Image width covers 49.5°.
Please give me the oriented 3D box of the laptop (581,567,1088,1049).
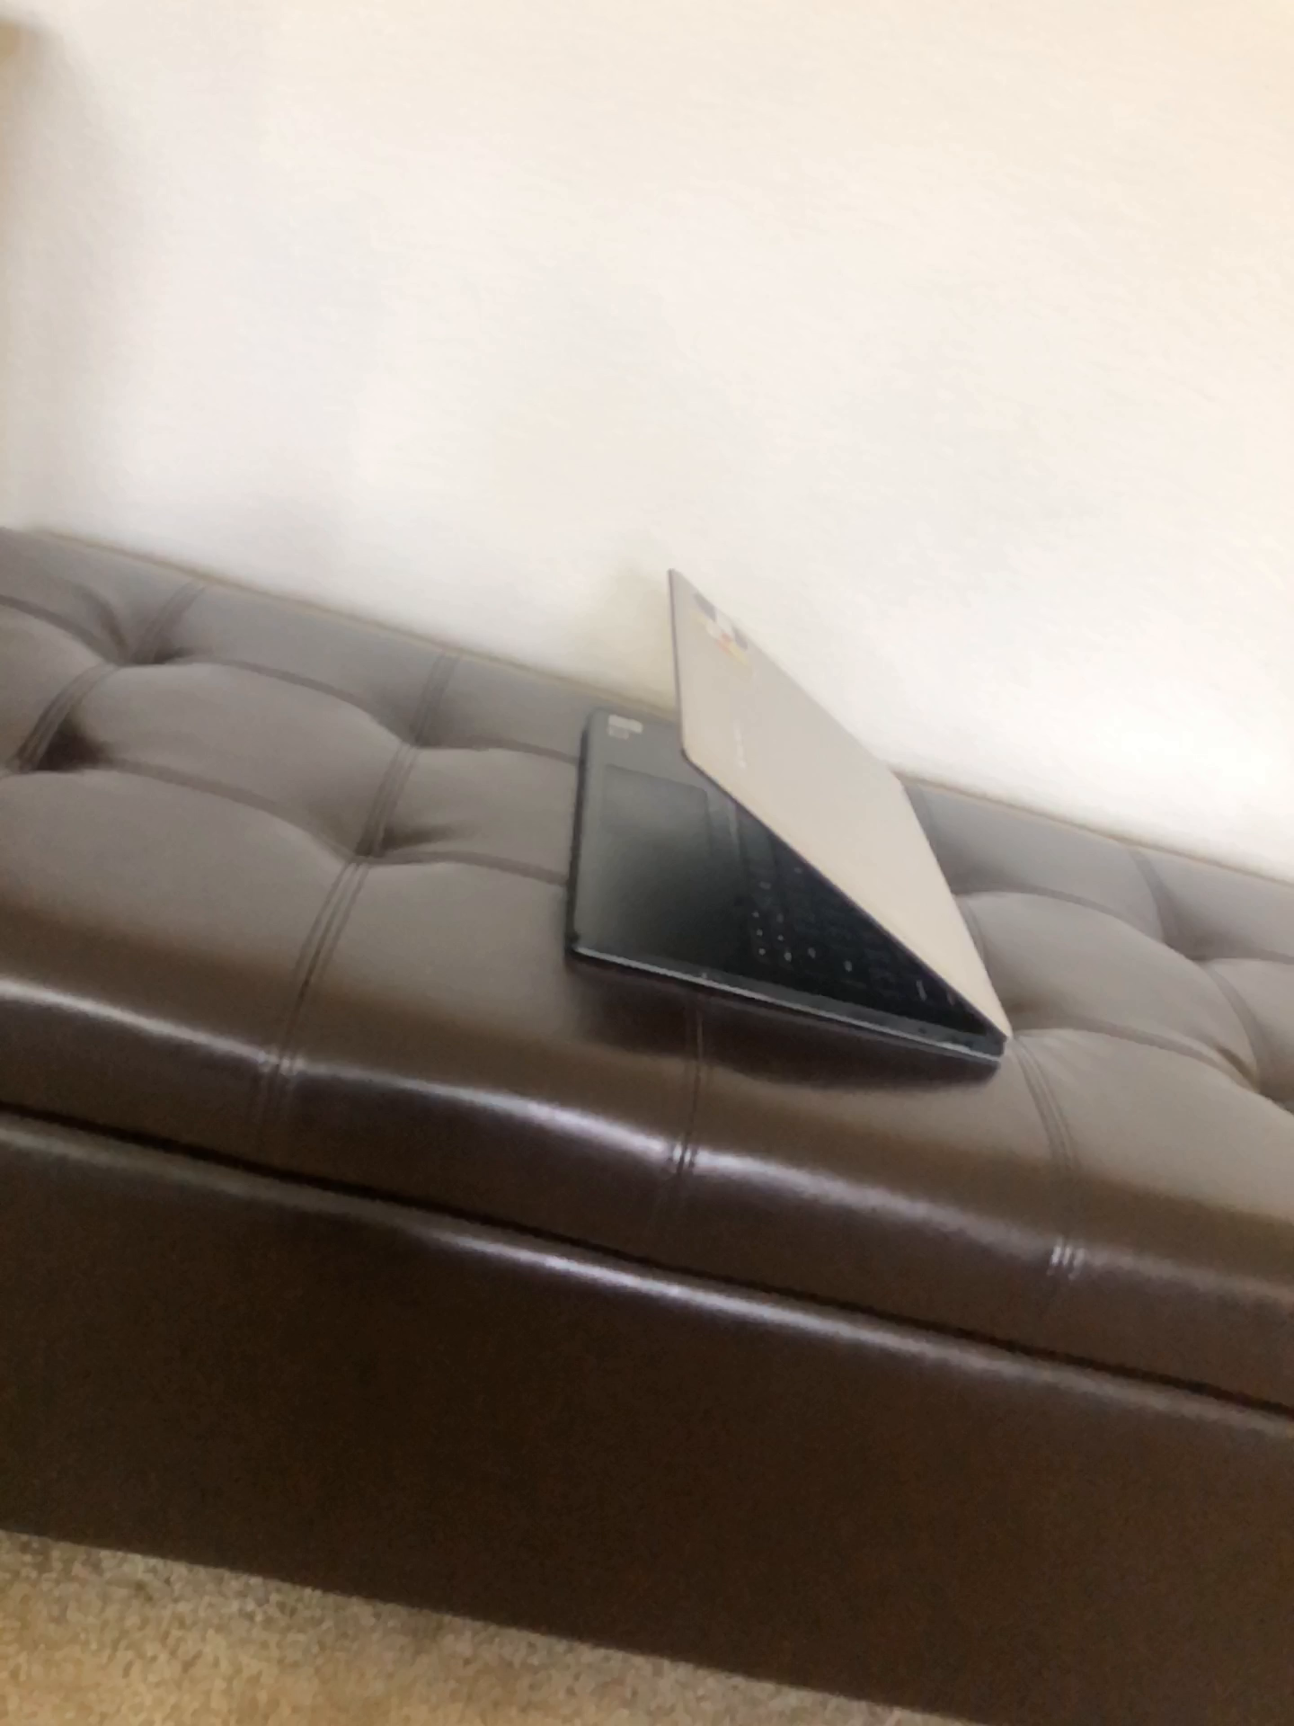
[{"bbox_3d":[0.077,-0.046,0.738,0.197,0.097,0.294,14,25,-7],"label":"laptop"}]
